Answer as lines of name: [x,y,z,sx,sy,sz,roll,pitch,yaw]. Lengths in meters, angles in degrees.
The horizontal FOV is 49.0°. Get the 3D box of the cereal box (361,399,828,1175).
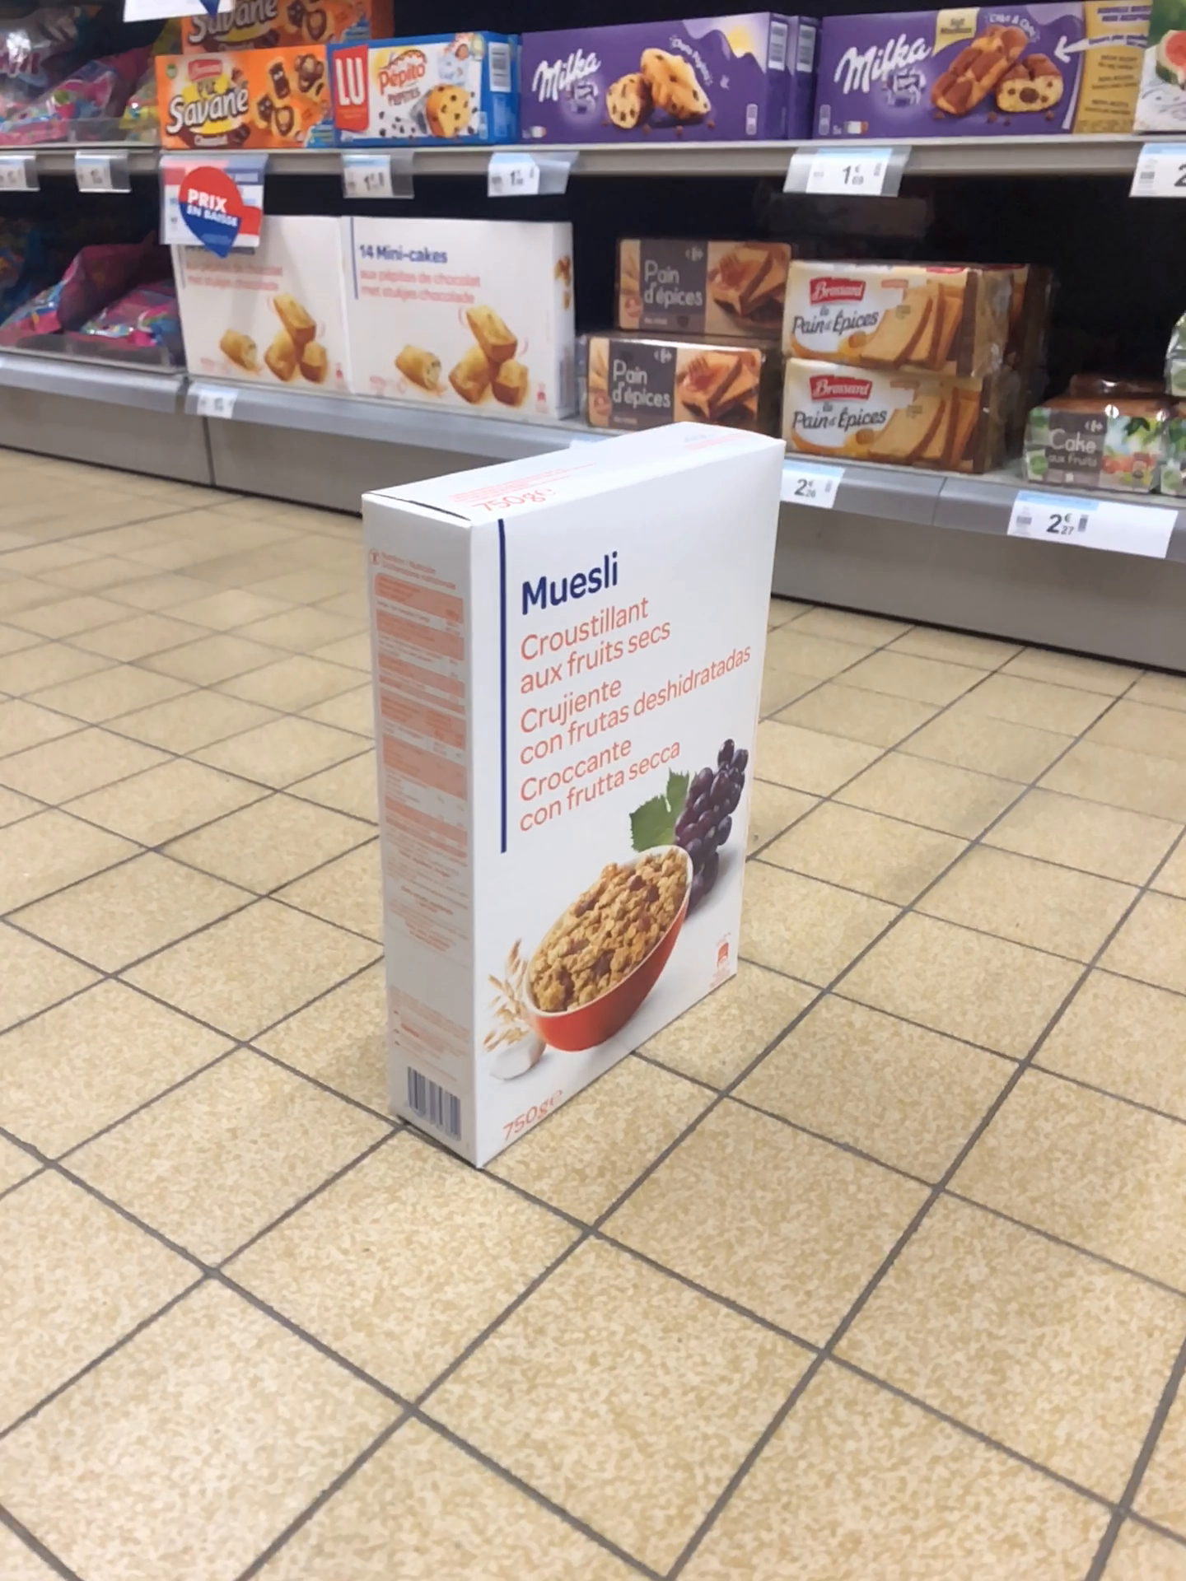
cereal box: [0.007,-0.011,0.544,0.060,0.268,0.201,21,31,35]
